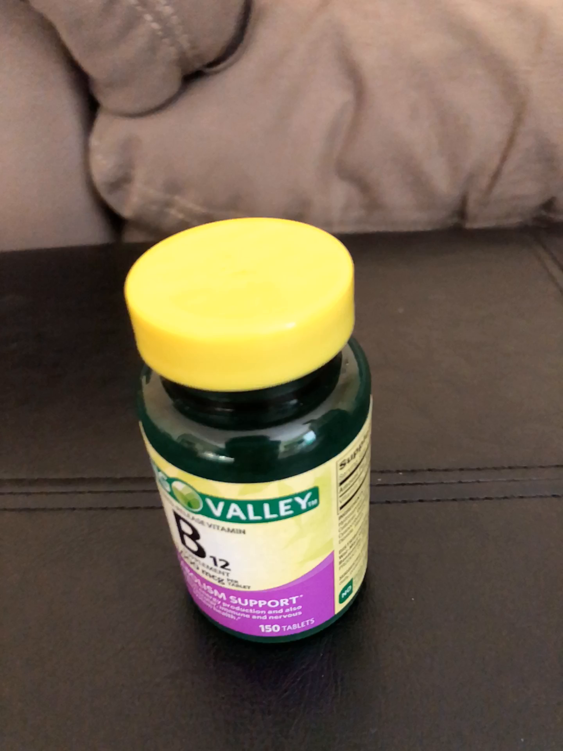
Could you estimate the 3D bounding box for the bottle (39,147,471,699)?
[{"bbox_3d":[-0.001,0.010,0.131,0.050,0.090,0.050,-3,38,2],"label":"bottle"}]
